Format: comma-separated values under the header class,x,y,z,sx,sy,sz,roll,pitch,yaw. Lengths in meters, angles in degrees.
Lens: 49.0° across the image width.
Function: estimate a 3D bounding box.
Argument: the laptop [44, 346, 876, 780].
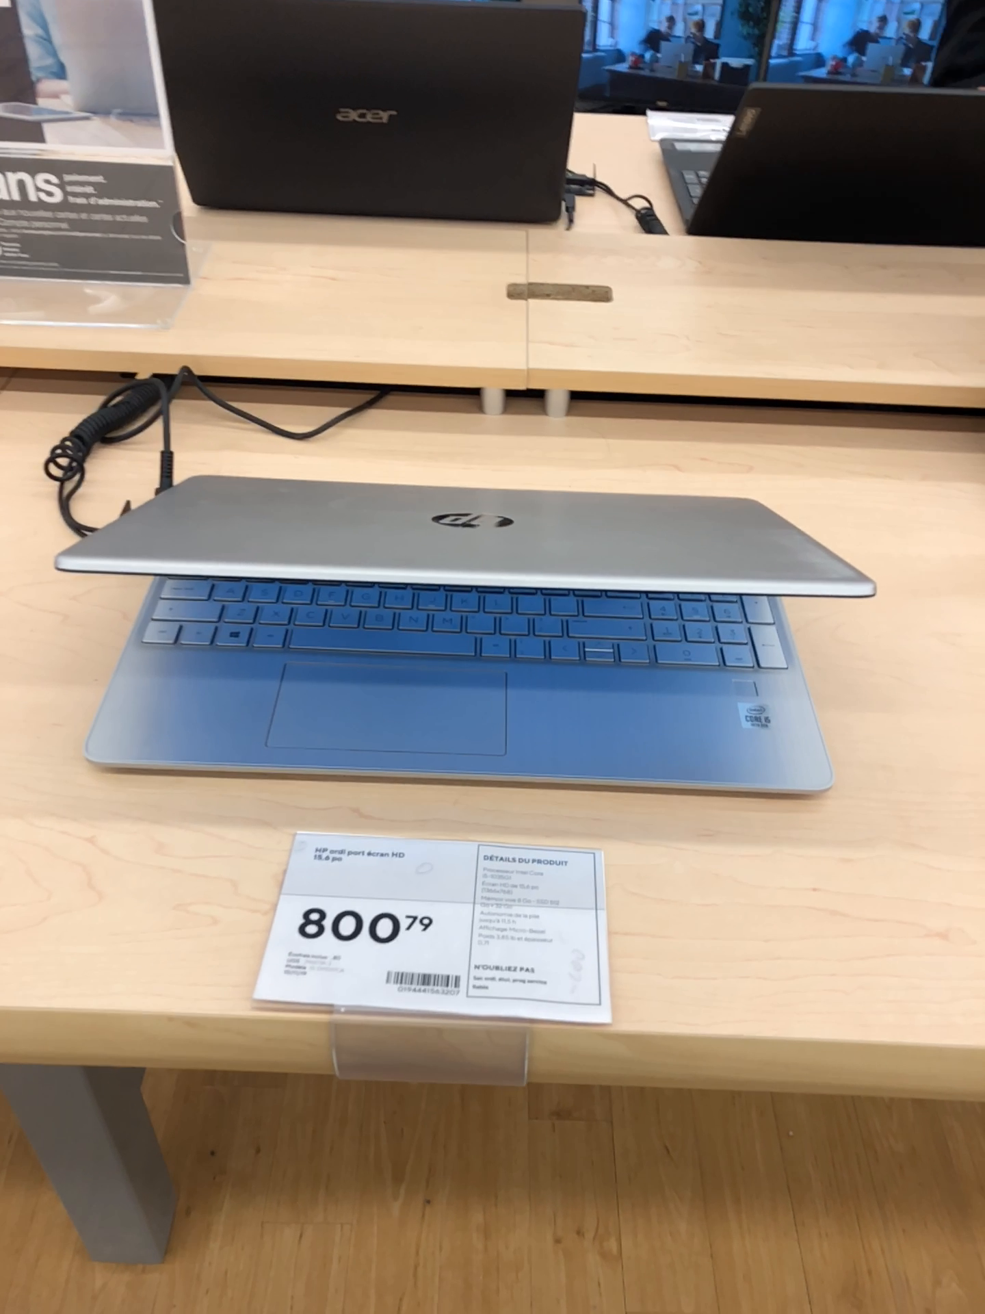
class,x,y,z,sx,sy,sz,roll,pitch,yaw
laptop,-0.010,-0.058,0.552,0.340,0.086,0.225,2,43,-1
